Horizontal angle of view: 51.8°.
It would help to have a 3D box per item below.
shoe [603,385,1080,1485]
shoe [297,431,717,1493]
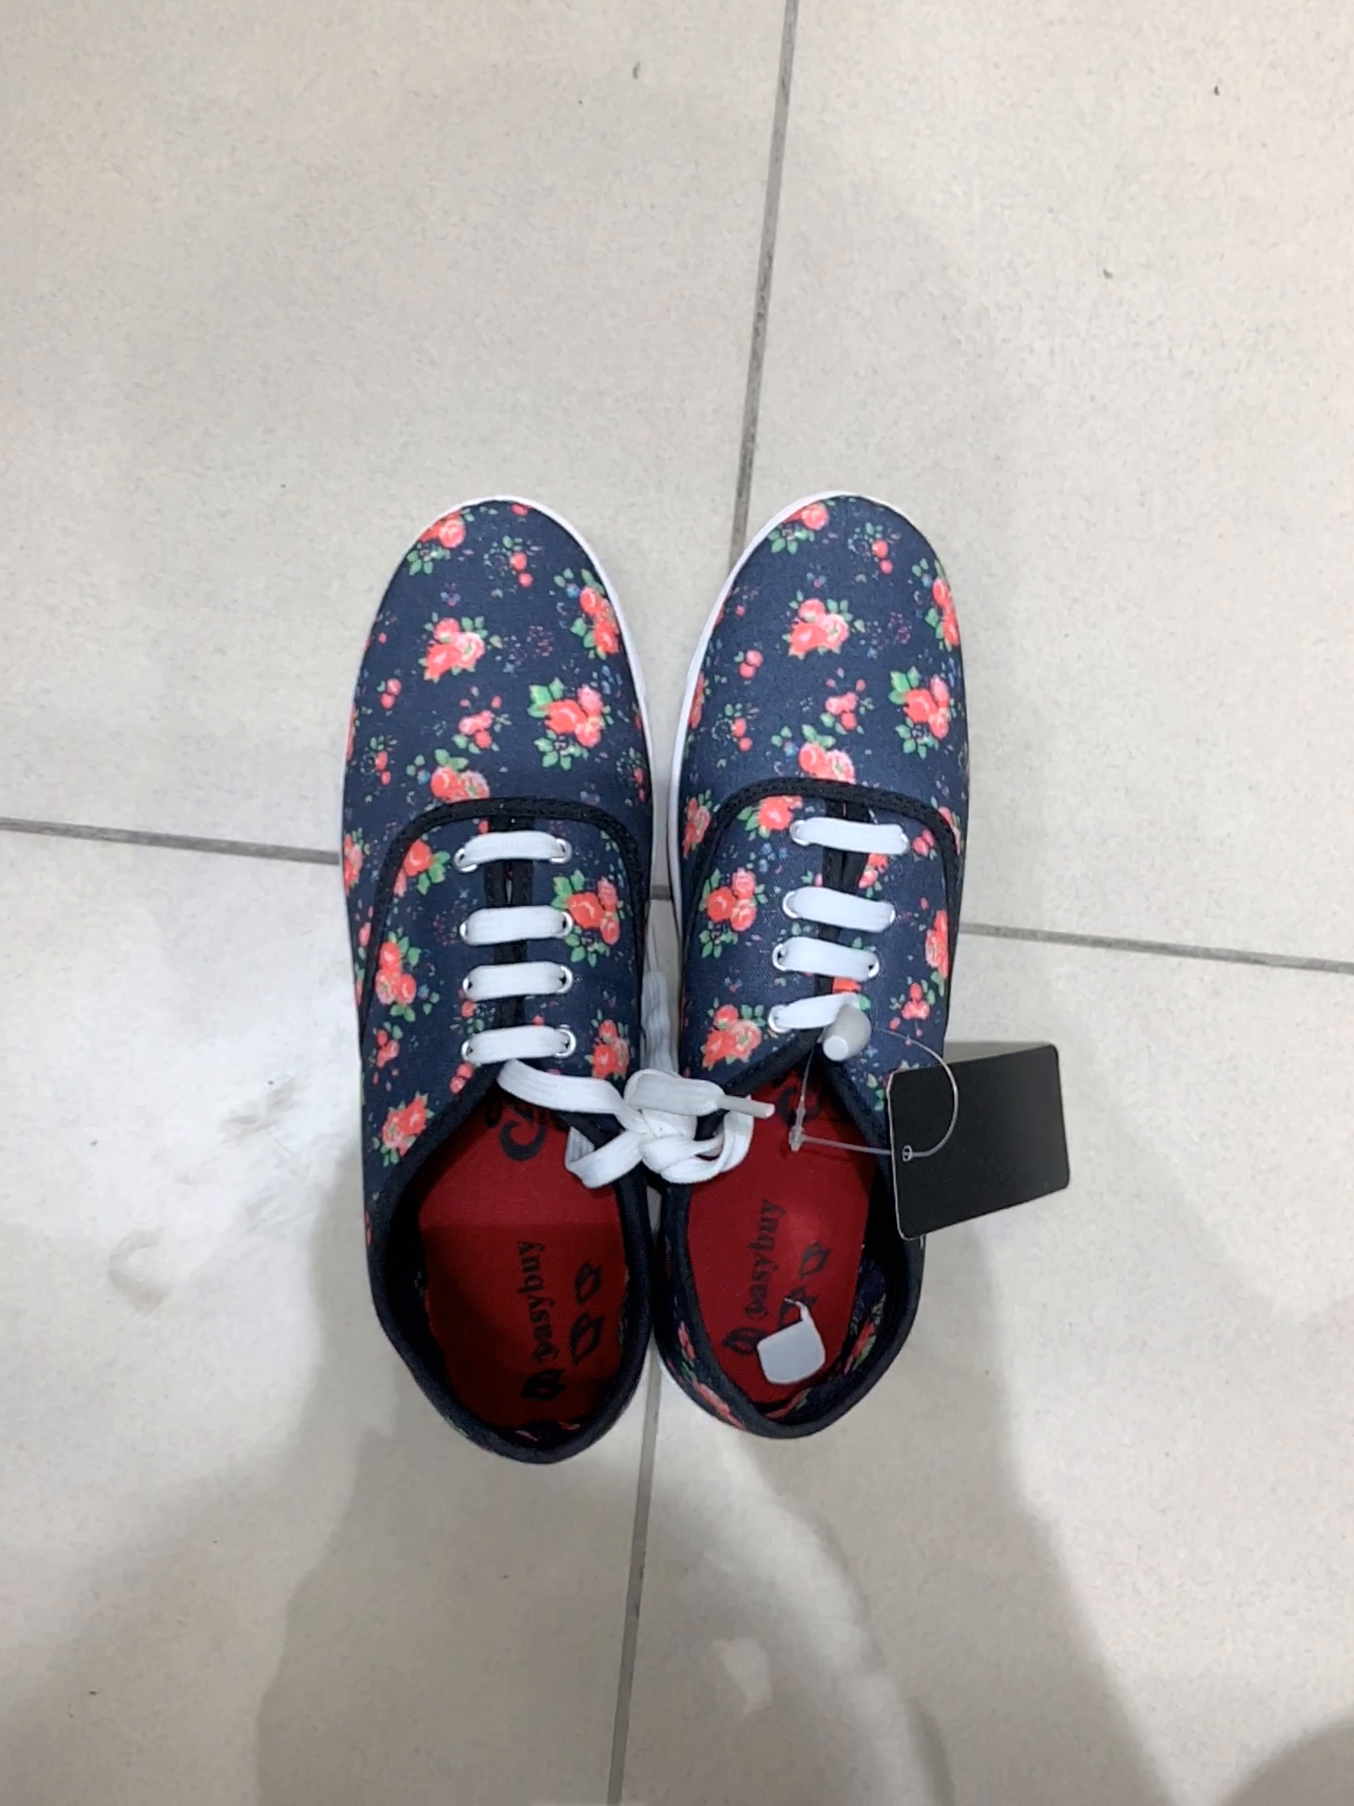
[{"bbox_3d":[0.041,0.008,0.392,0.100,0.080,0.270,5,87,-3],"label":"shoe"},{"bbox_3d":[-0.047,0.014,0.399,0.100,0.080,0.270,-2,87,-4],"label":"shoe"}]
